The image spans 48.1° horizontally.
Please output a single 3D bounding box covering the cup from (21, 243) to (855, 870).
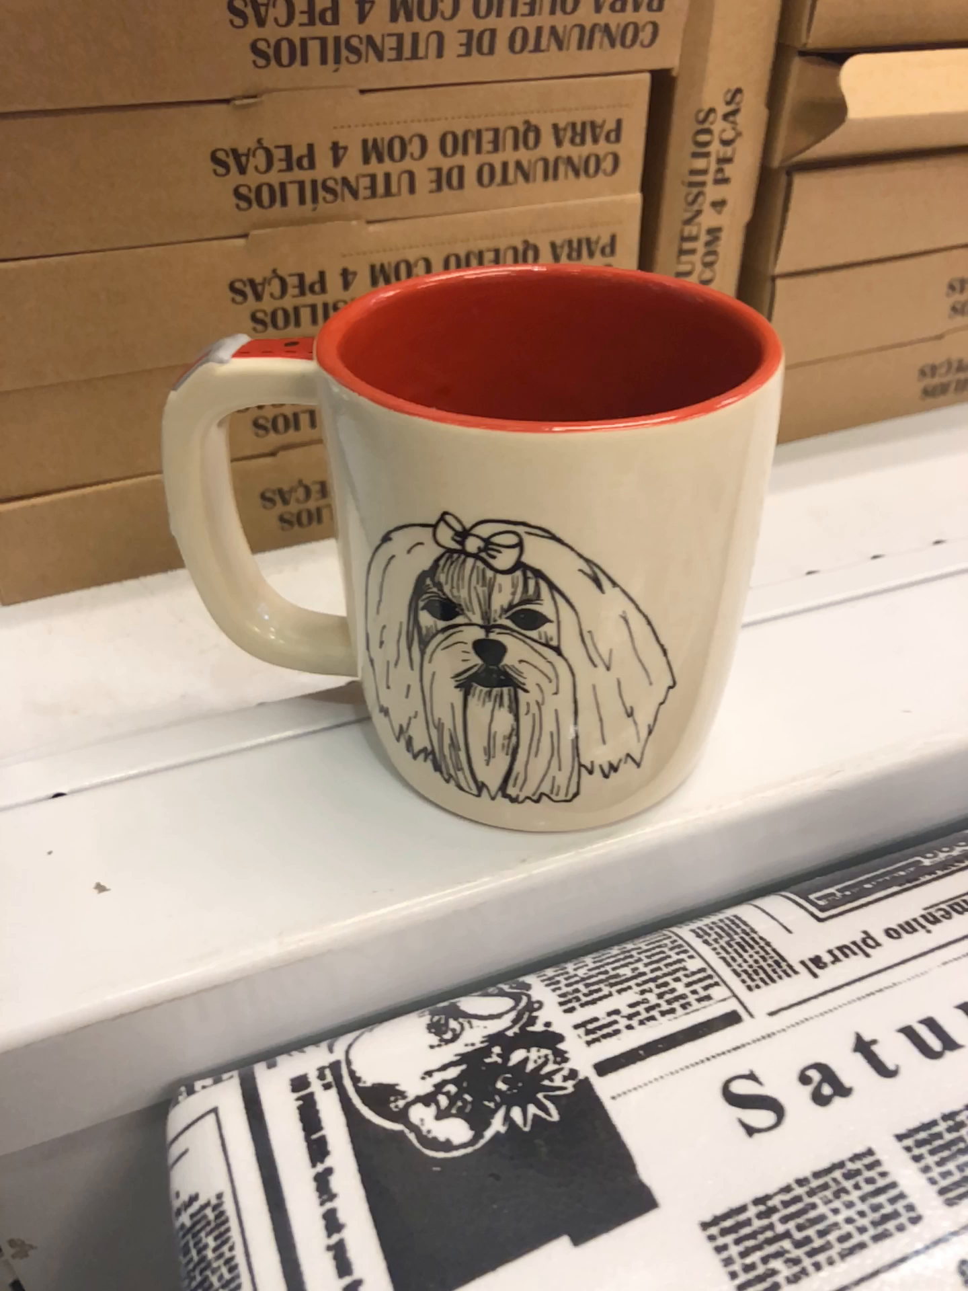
[{"bbox_3d":[-0.005,-0.022,0.218,0.120,0.089,0.091,1,36,3],"label":"cup"}]
